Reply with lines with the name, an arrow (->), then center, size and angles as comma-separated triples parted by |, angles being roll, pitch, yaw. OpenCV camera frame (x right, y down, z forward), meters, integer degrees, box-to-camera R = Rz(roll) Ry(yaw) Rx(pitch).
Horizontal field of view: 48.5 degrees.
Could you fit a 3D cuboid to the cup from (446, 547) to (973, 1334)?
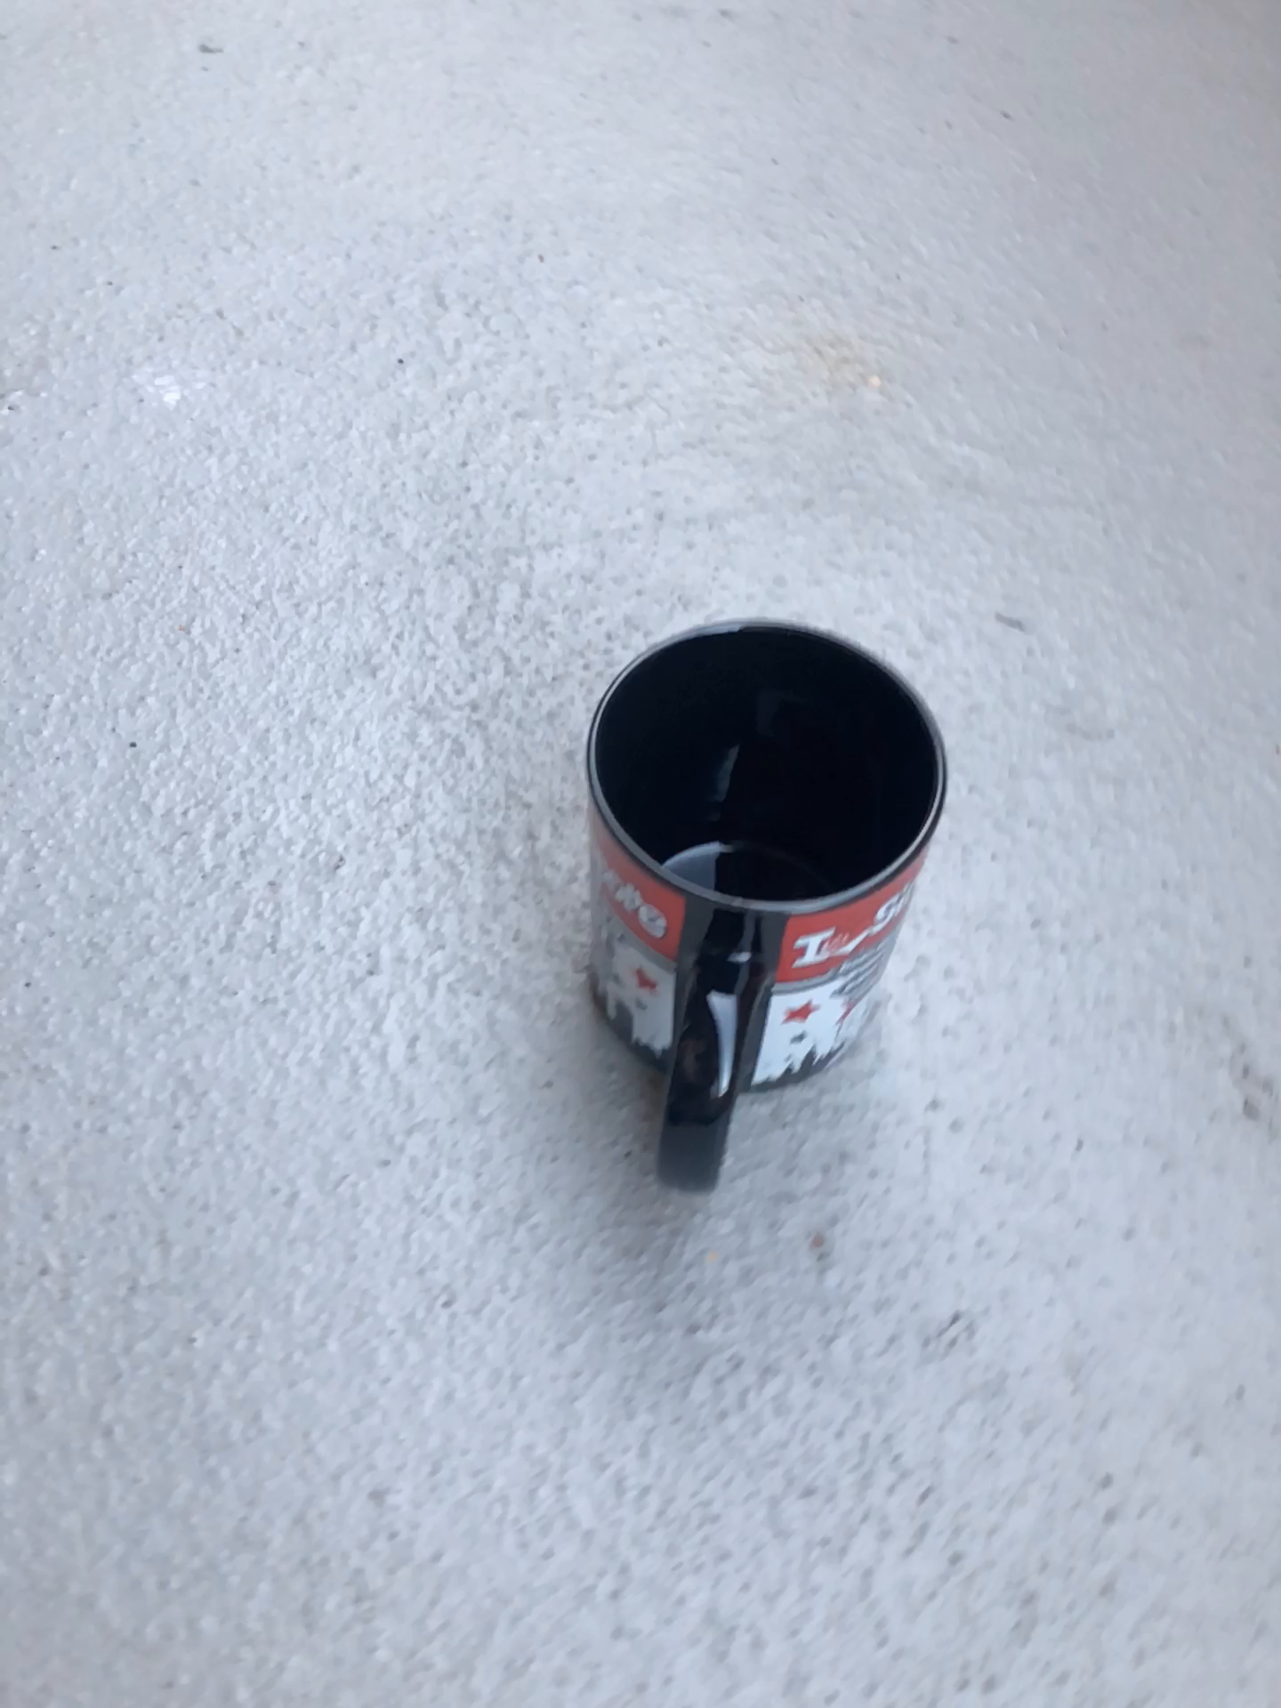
cup -> 0.019, 0.021, 0.327 | 0.080, 0.110, 0.130 | 11, 57, 7
